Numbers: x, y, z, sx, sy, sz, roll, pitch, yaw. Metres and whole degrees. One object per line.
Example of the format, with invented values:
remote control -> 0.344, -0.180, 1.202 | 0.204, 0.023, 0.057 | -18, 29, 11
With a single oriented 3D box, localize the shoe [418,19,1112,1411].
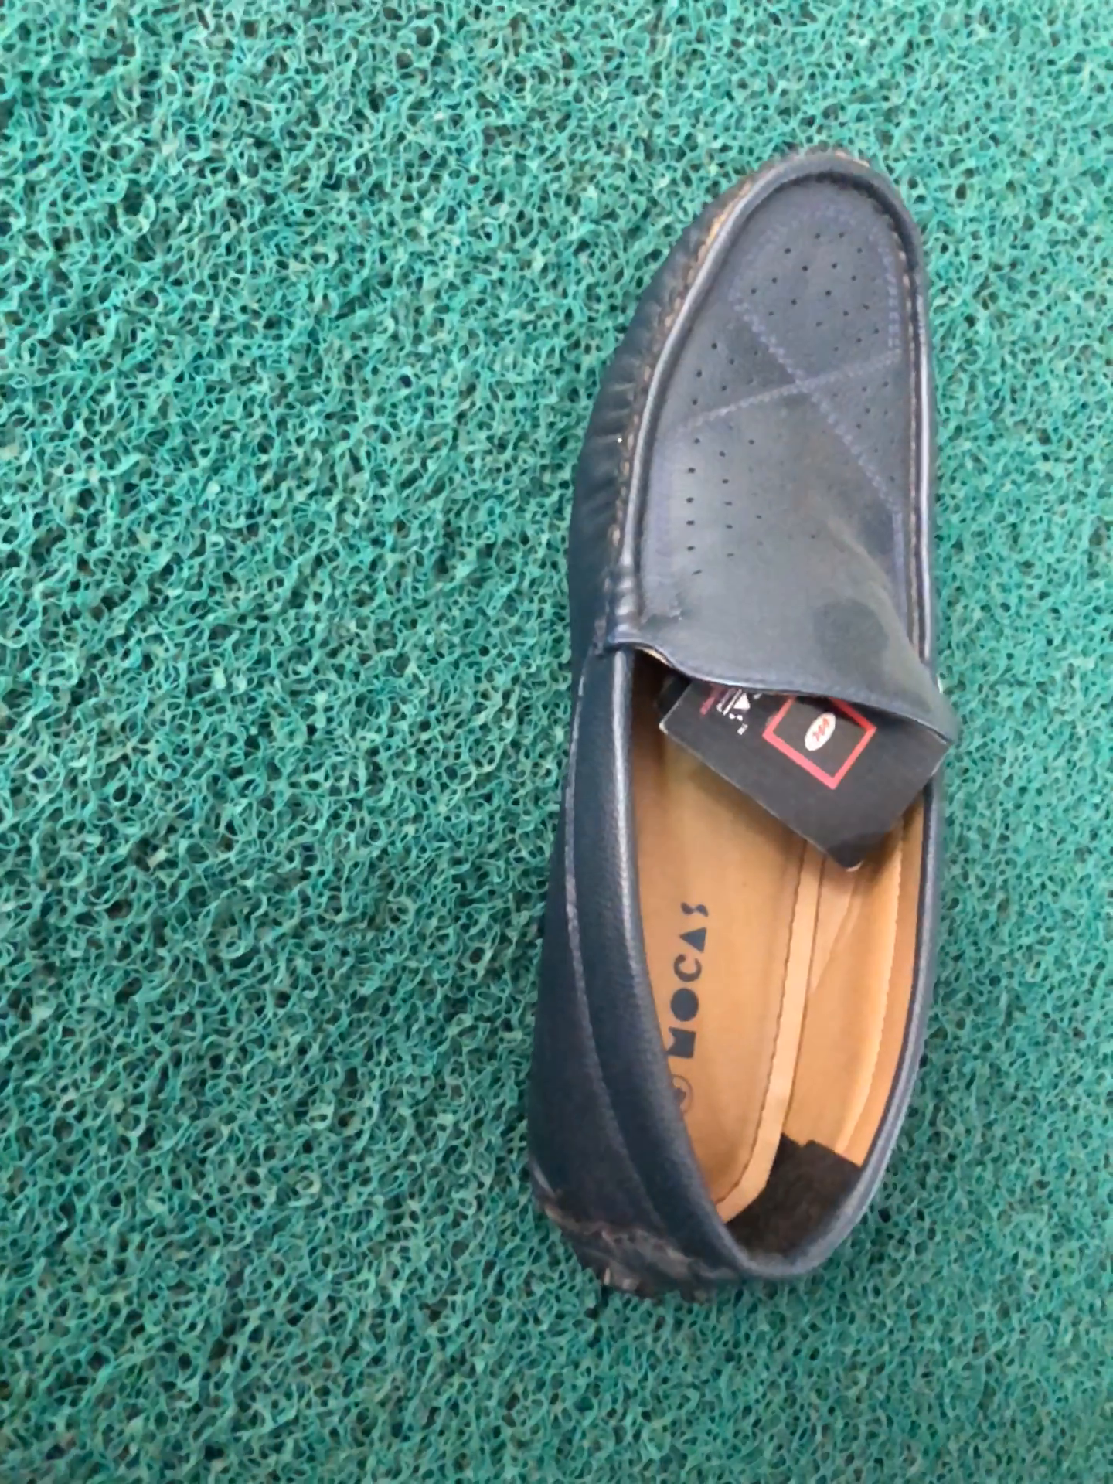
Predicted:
shoe -> 0.054, -0.003, 0.293 | 0.101, 0.070, 0.280 | 15, 81, -25
